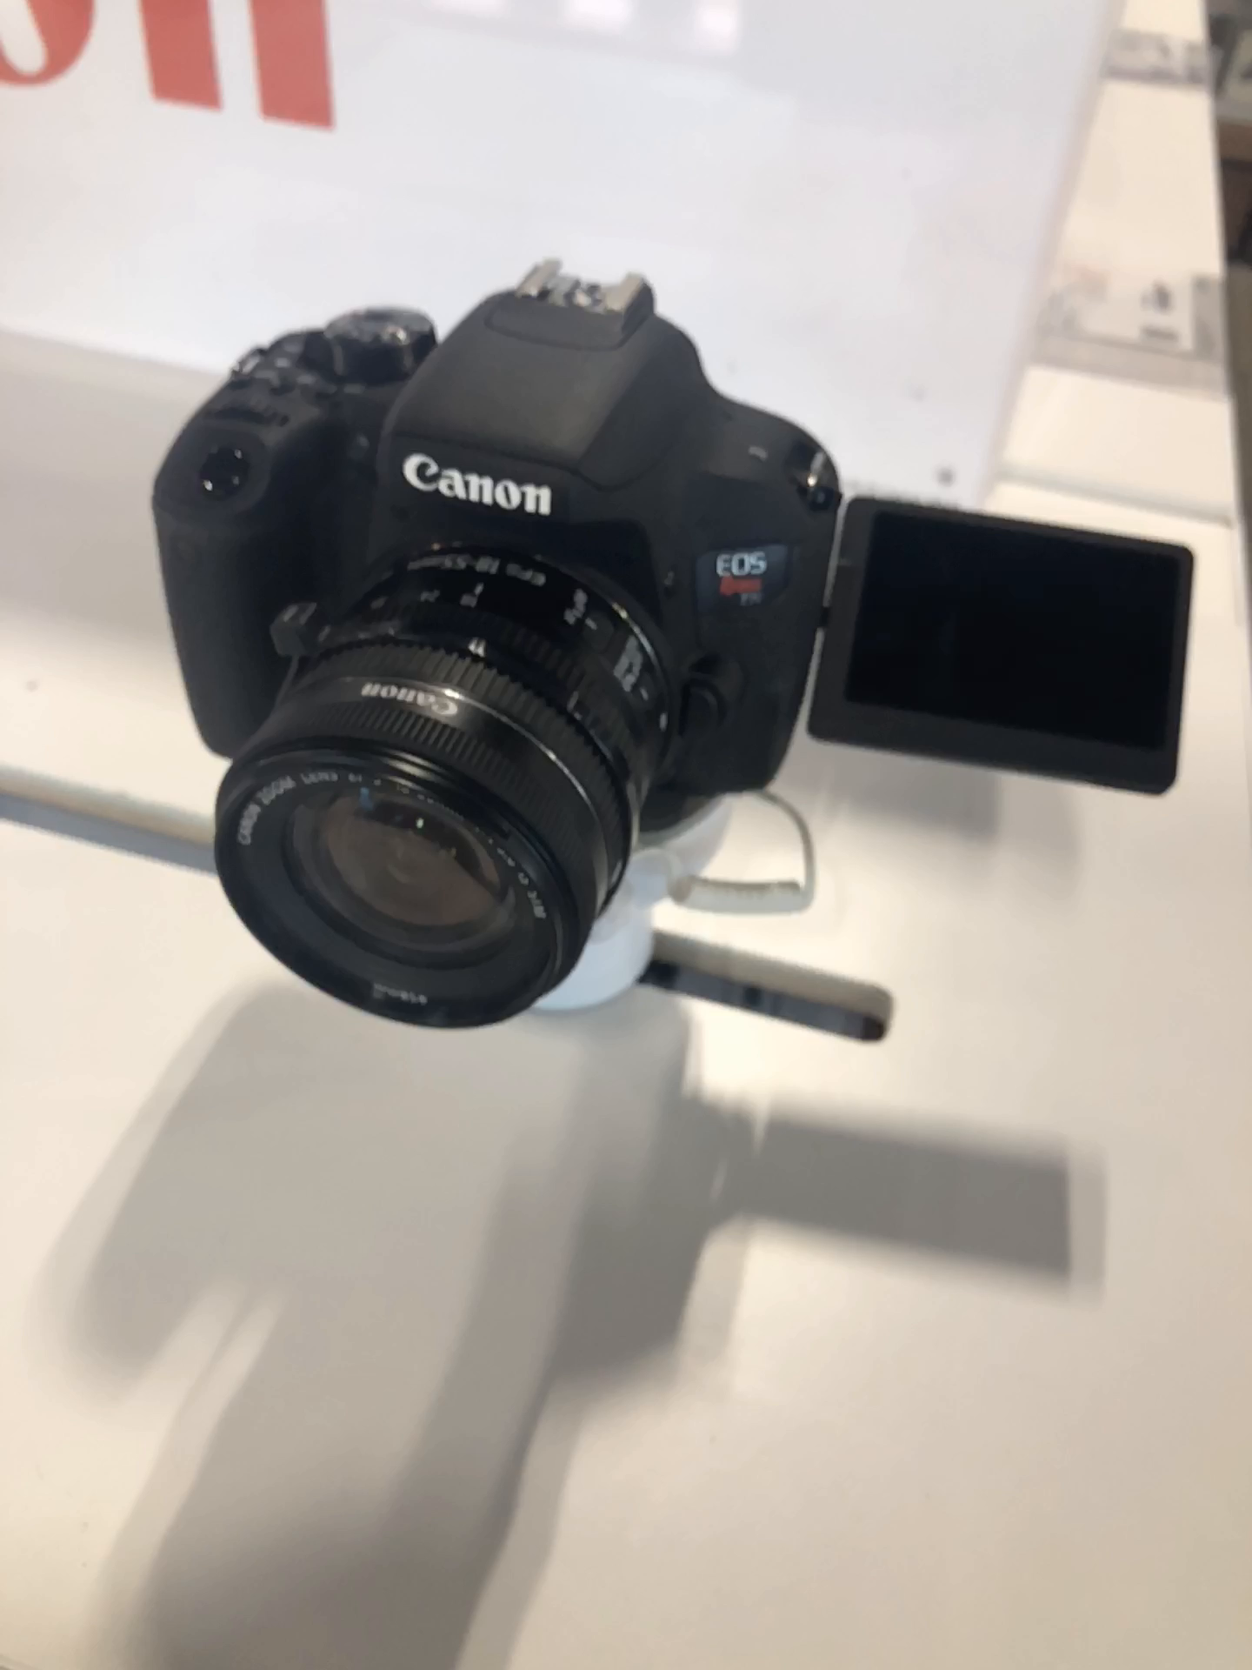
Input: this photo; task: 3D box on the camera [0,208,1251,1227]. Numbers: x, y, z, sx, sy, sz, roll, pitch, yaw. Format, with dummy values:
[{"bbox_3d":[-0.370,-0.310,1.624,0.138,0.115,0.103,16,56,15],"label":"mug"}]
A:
[{"bbox_3d":[0.008,-0.029,0.256,0.210,0.099,0.111,12,44,8],"label":"camera"}]
